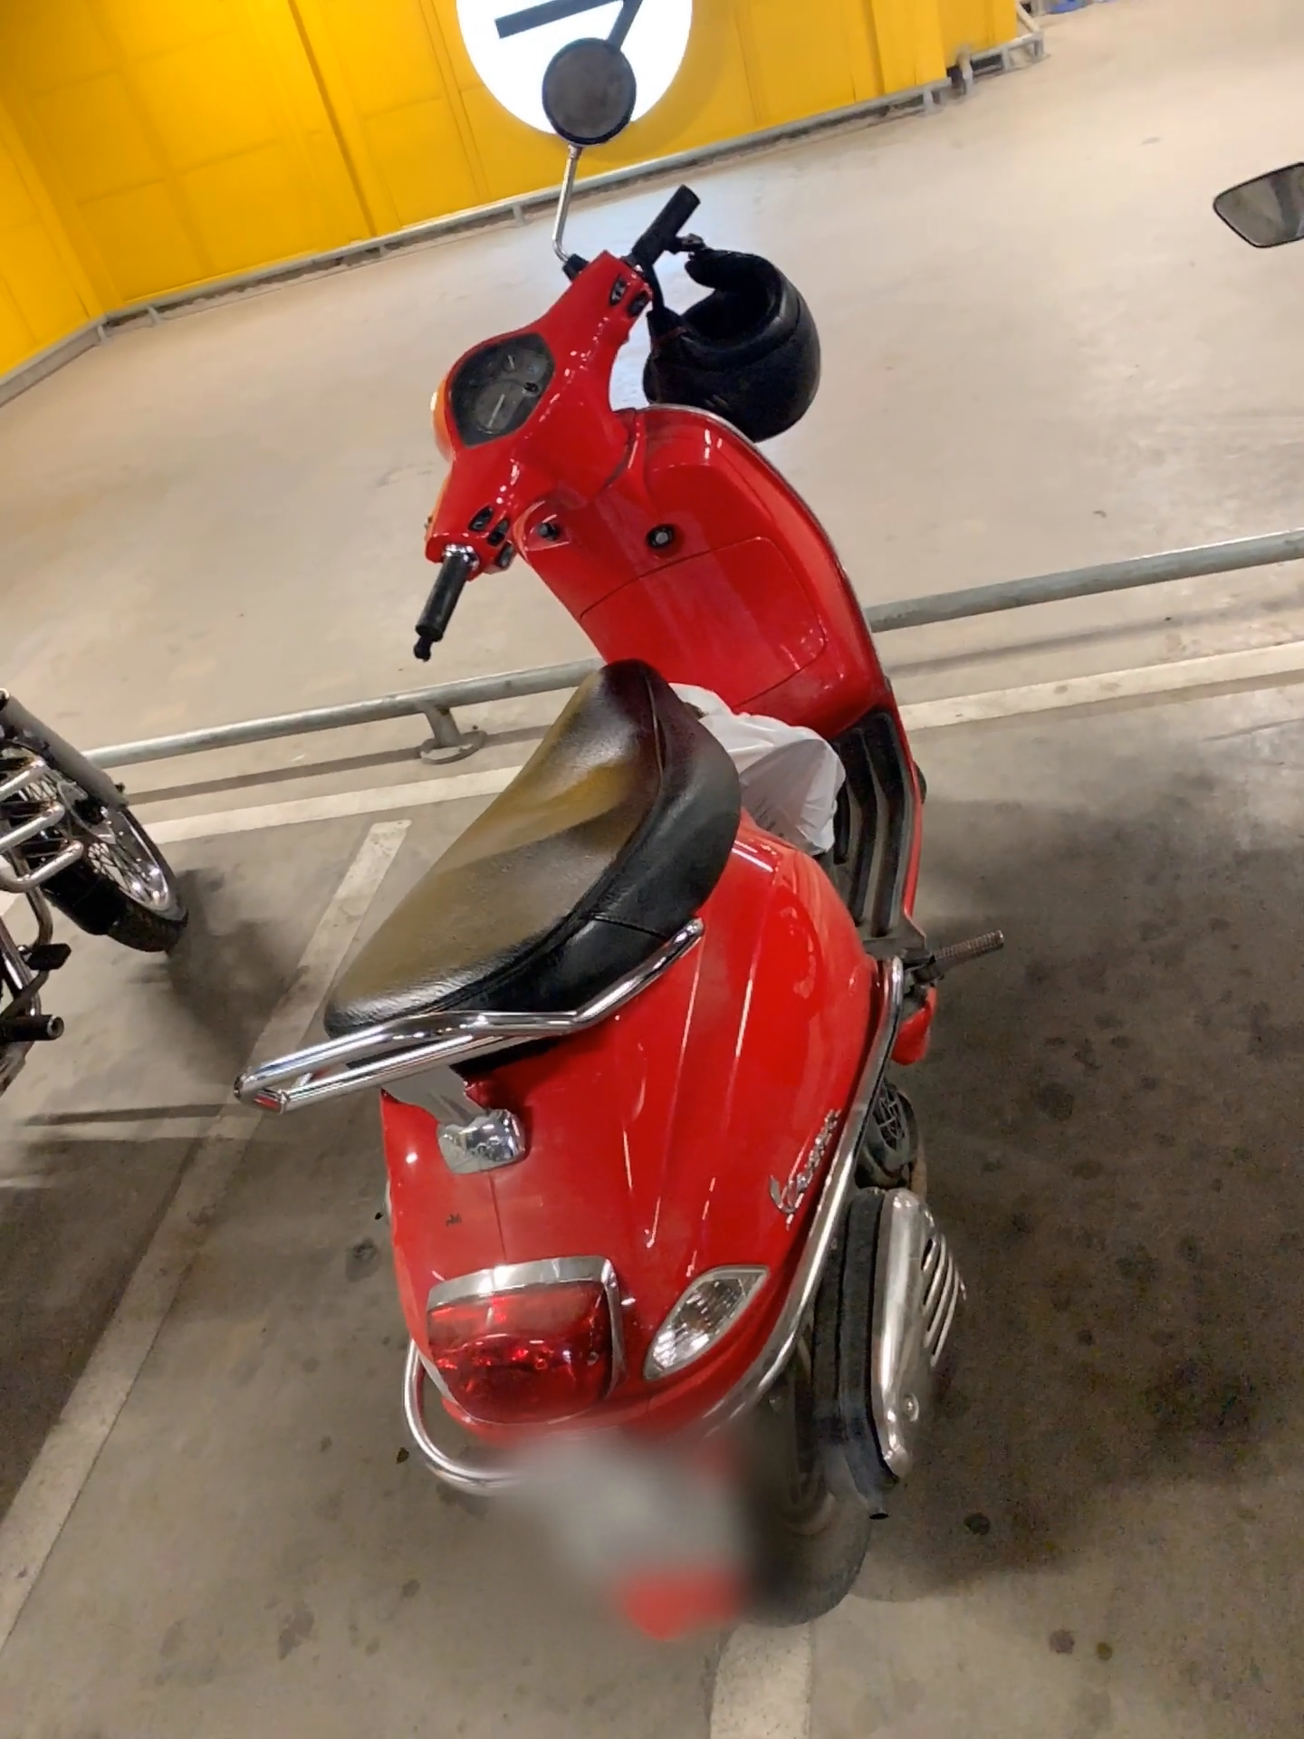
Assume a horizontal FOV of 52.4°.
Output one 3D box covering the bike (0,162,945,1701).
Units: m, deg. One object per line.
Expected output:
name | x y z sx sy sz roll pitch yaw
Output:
bike | -0.123 -0.083 1.768 0.632 1.201 1.687 -11 34 11
